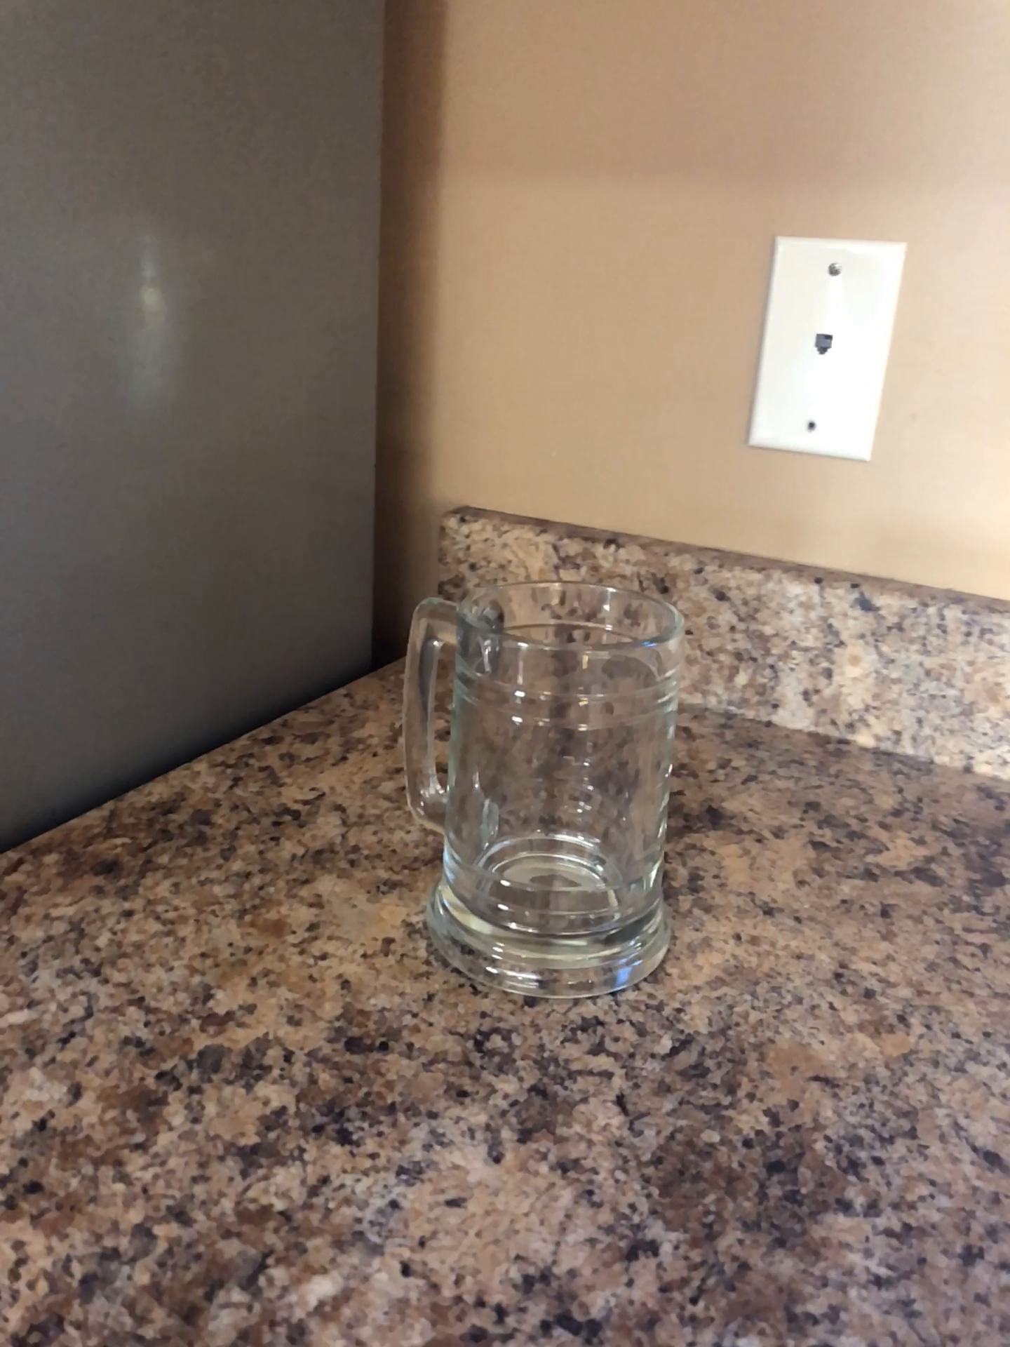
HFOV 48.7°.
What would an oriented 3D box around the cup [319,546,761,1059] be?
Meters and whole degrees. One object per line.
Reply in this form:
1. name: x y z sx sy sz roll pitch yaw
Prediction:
1. cup: 0.008 0.038 0.437 0.130 0.139 0.100 21 26 40
